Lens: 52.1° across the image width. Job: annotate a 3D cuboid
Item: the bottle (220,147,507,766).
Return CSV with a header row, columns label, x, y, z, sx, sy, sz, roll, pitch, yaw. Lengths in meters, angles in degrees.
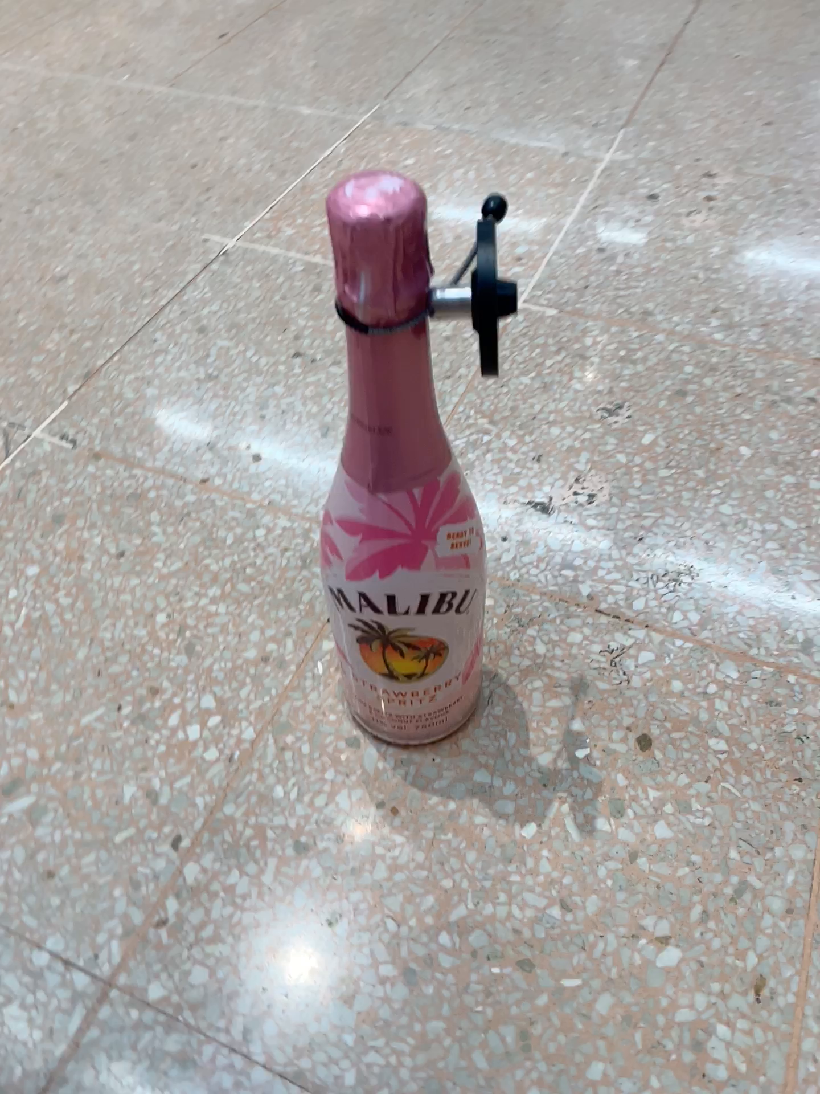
label,x,y,z,sx,sy,sz,roll,pitch,yaw
bottle,-0.012,-0.011,0.374,0.080,0.286,0.081,-2,50,2
